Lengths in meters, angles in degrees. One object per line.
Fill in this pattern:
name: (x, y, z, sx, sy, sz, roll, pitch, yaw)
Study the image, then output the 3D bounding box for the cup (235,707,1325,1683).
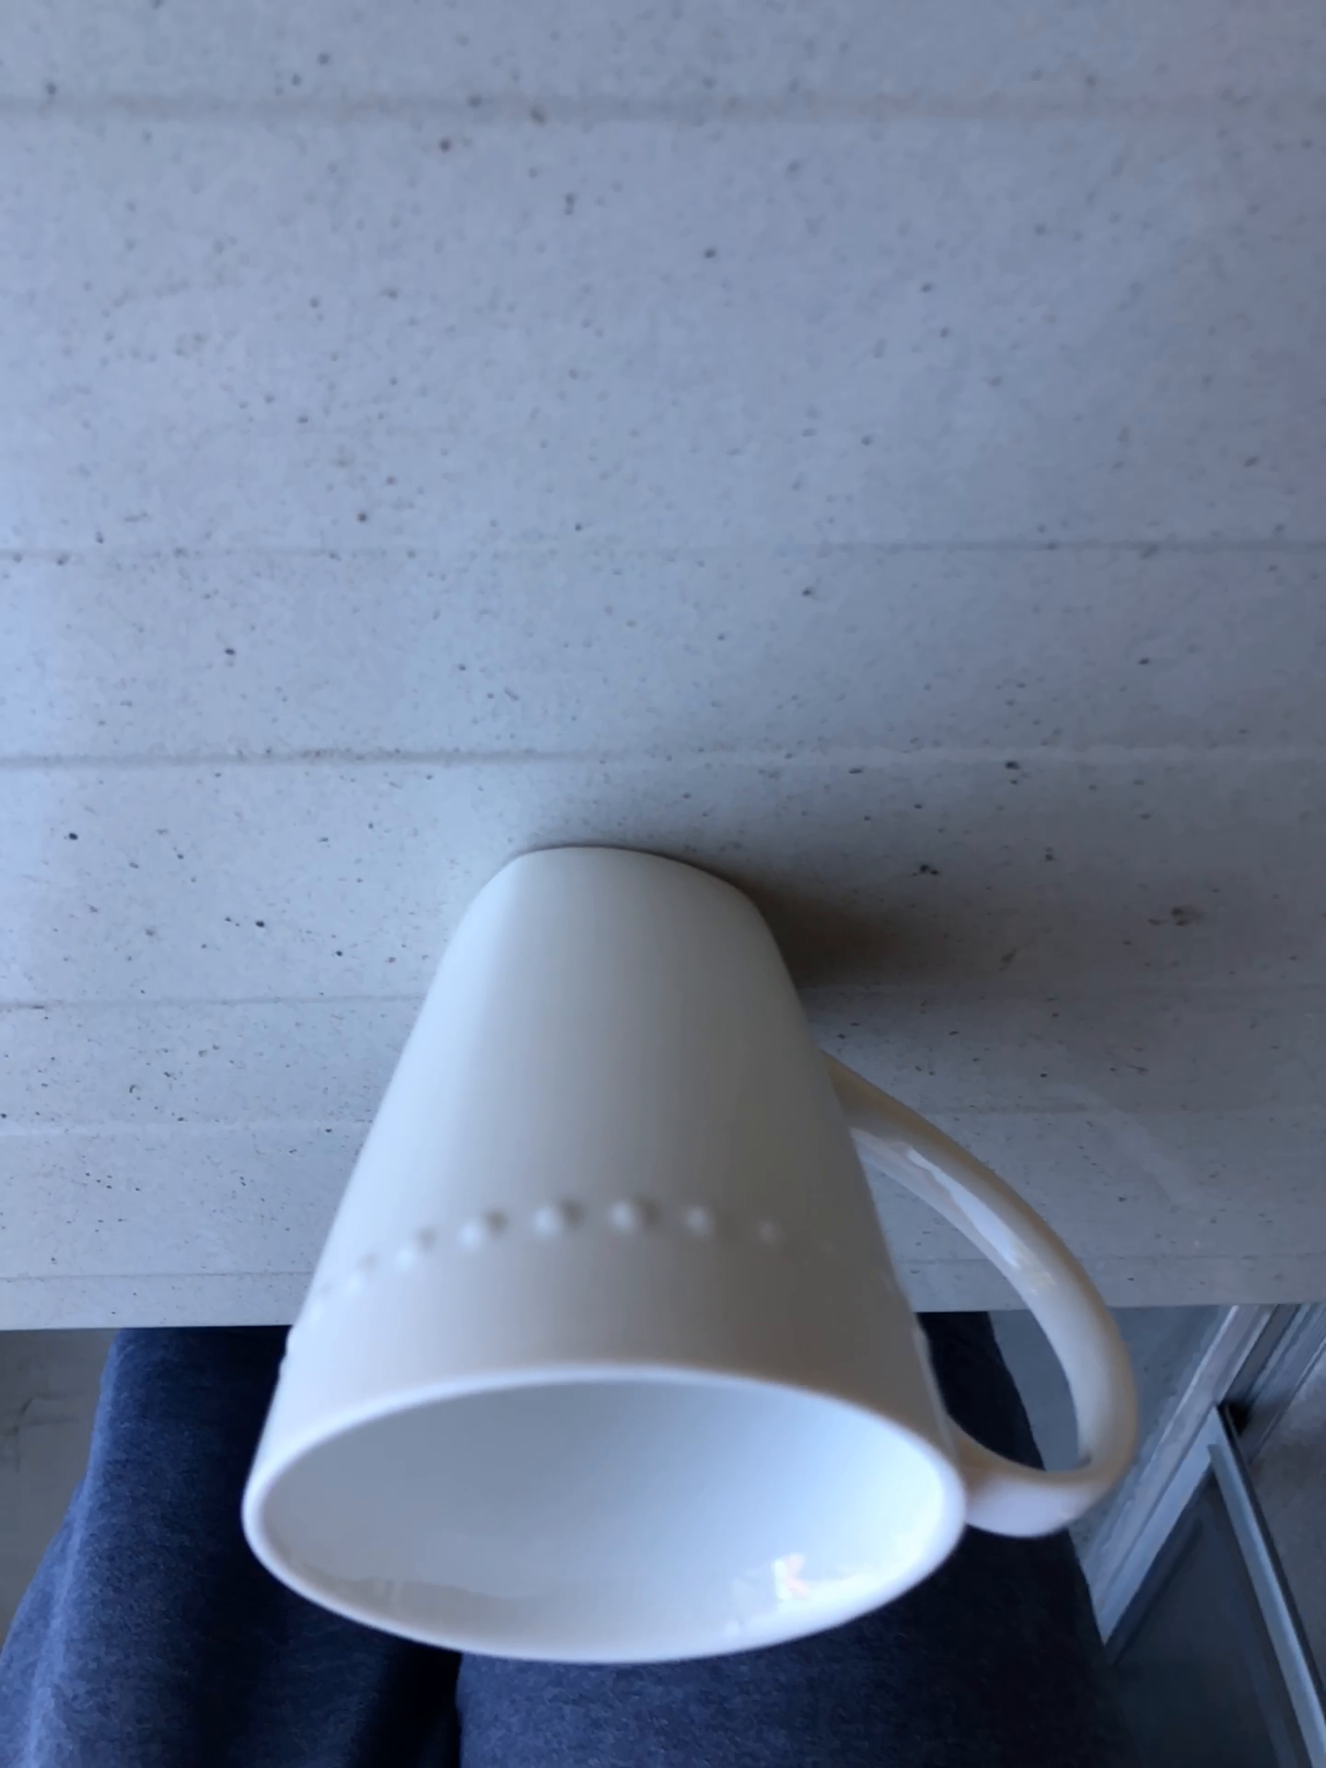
cup: (0.014, 0.052, 0.229, 0.140, 0.099, 0.101, 6, 132, -10)
